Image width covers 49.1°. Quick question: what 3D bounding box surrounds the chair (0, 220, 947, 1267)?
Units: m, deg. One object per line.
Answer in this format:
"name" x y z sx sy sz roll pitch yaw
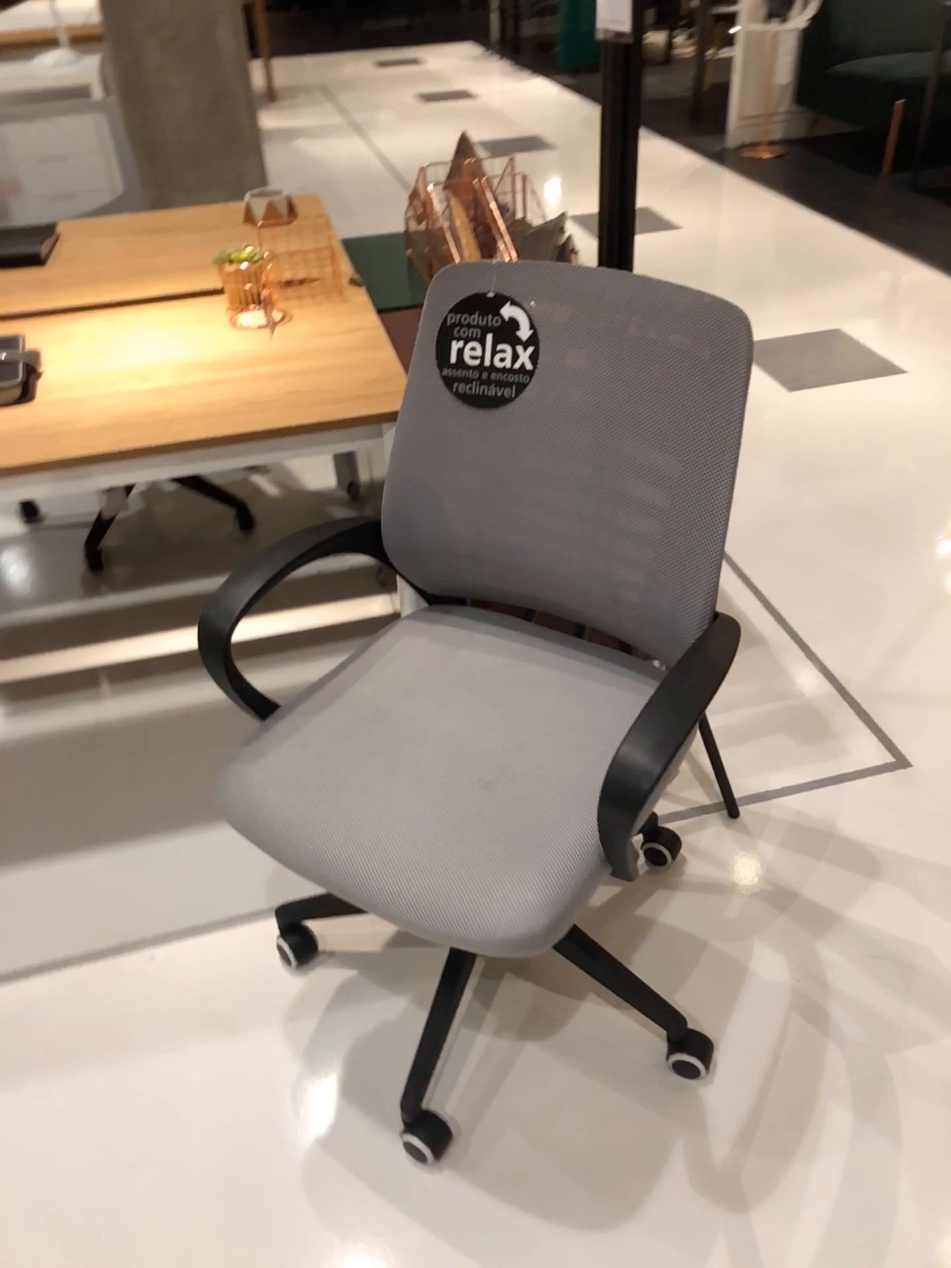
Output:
"chair" 0.019 0.091 1.190 0.661 0.853 0.664 19 42 28
